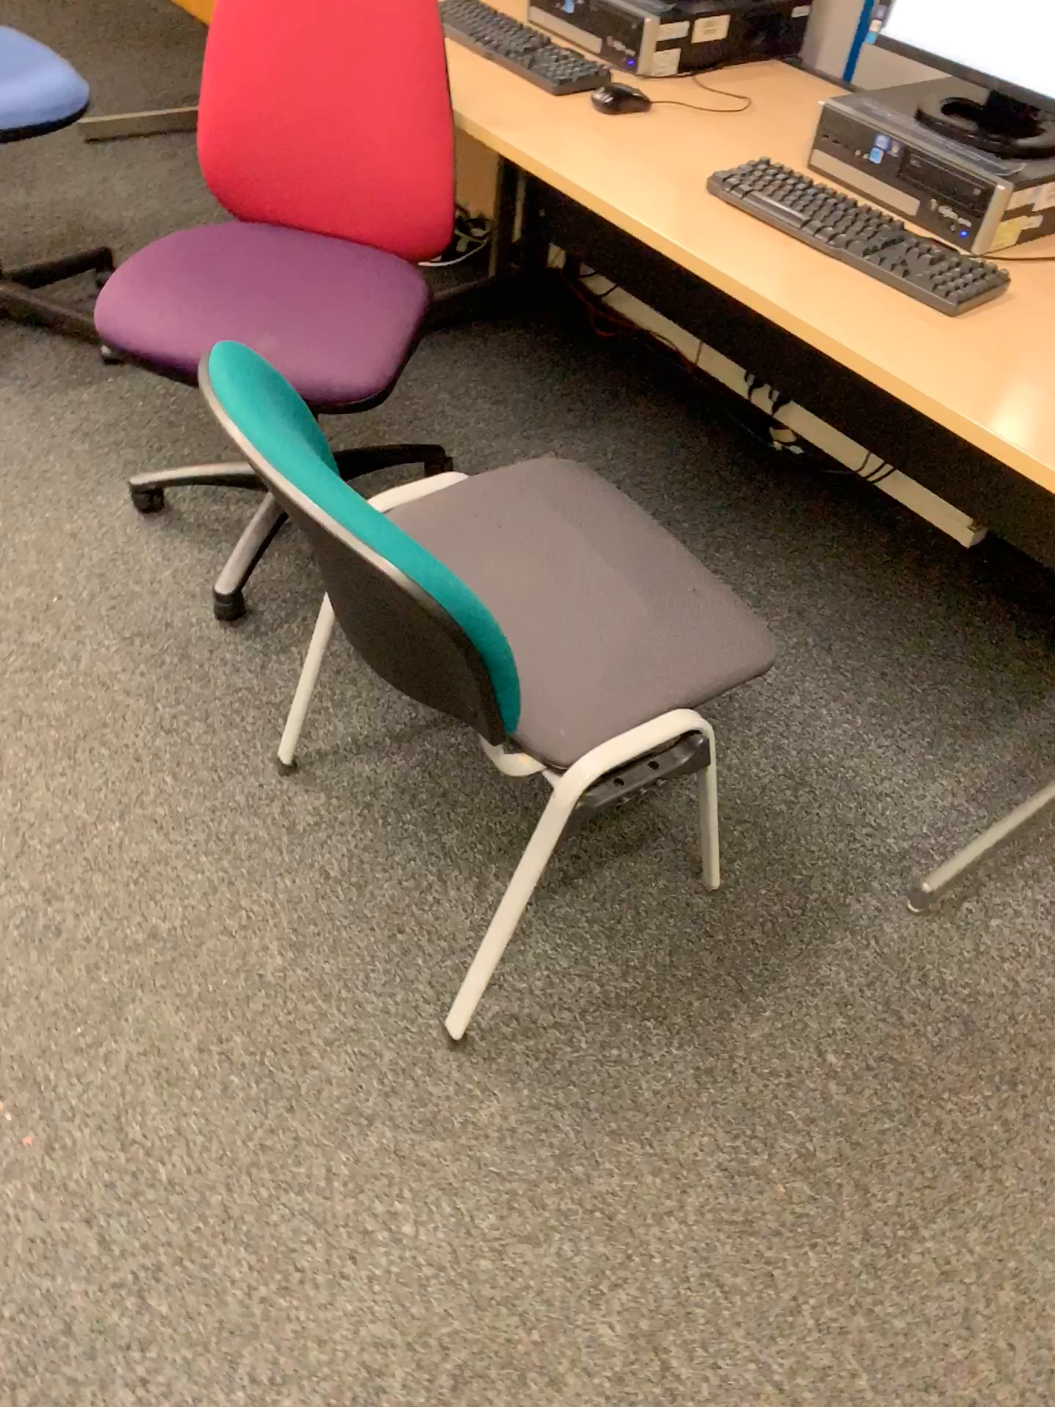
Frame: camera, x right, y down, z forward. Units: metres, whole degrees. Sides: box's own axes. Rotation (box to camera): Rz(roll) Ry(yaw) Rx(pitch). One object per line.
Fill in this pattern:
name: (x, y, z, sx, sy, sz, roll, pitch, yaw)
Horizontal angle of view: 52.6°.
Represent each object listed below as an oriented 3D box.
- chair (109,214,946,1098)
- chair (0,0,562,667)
chair: (-0.043, -0.070, 1.280, 0.600, 0.721, 0.555, -23, 53, -28)
chair: (-0.373, -0.656, 1.697, 0.652, 0.860, 0.674, 12, 45, 3)
